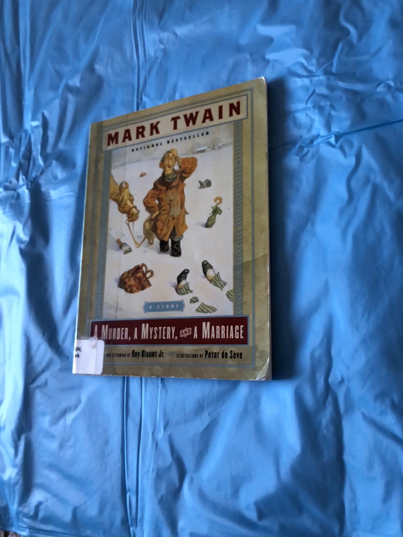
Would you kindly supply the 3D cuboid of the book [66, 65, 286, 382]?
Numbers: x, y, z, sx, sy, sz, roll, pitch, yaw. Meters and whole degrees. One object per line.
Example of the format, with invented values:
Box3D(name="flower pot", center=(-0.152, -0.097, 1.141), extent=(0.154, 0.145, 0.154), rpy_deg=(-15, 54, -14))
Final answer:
Box3D(name="book", center=(-0.022, -0.028, 0.329), extent=(0.160, 0.020, 0.210), rpy_deg=(-5, 77, 25))
